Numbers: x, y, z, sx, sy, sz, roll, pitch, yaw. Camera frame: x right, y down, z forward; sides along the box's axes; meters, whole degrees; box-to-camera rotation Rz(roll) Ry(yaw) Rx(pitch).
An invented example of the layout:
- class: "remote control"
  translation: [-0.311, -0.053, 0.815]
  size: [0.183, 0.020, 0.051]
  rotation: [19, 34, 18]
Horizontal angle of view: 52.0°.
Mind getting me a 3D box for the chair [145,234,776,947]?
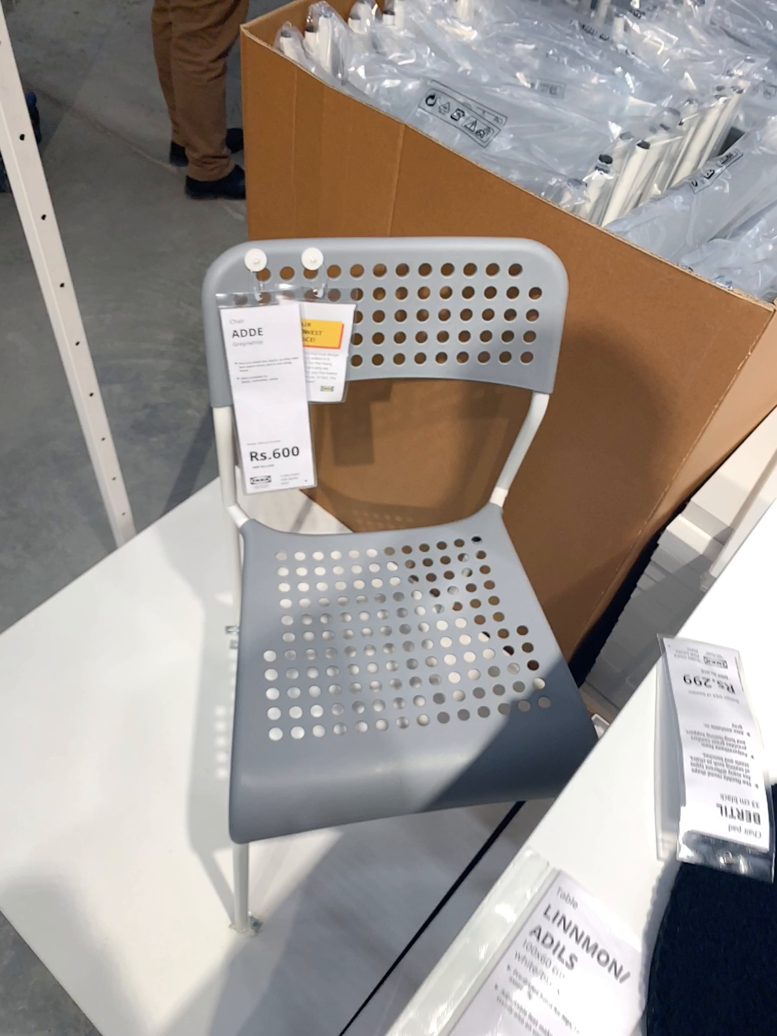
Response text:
- class: "chair"
  translation: [0.012, 0.124, 0.921]
  size: [0.460, 0.688, 0.501]
  rotation: [-4, 54, -10]
